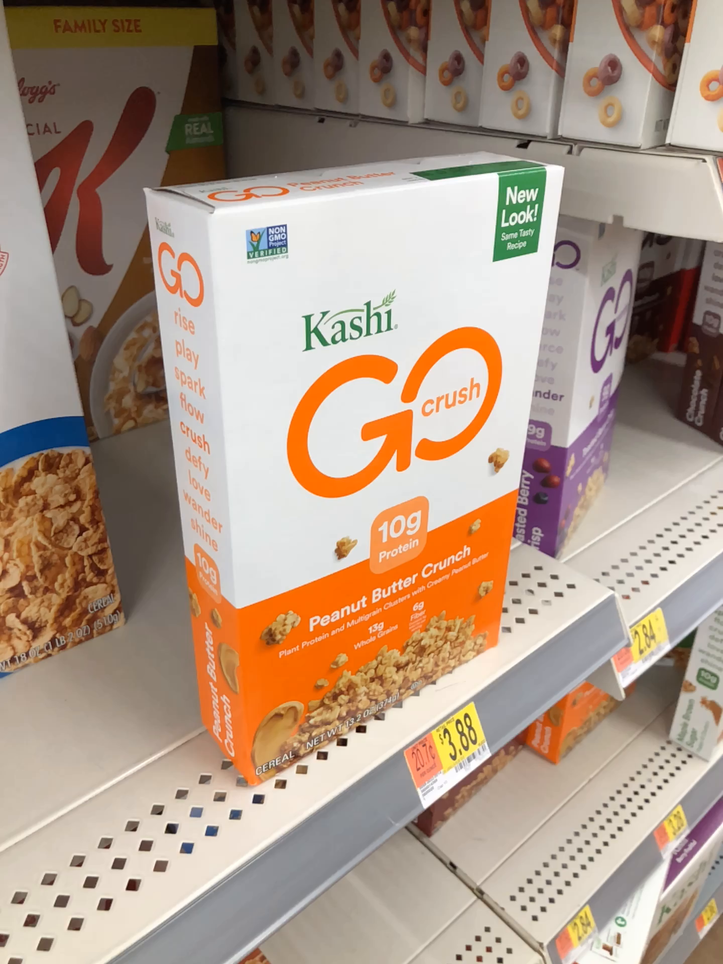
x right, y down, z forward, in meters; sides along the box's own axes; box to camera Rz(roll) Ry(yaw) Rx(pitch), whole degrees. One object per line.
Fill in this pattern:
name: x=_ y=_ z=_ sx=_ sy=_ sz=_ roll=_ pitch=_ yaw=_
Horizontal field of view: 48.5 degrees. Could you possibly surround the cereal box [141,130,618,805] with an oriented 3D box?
cereal box: x=0.011 y=-0.005 z=0.340 sx=0.170 sy=0.249 sz=0.050 roll=-21 pitch=38 yaw=-32
